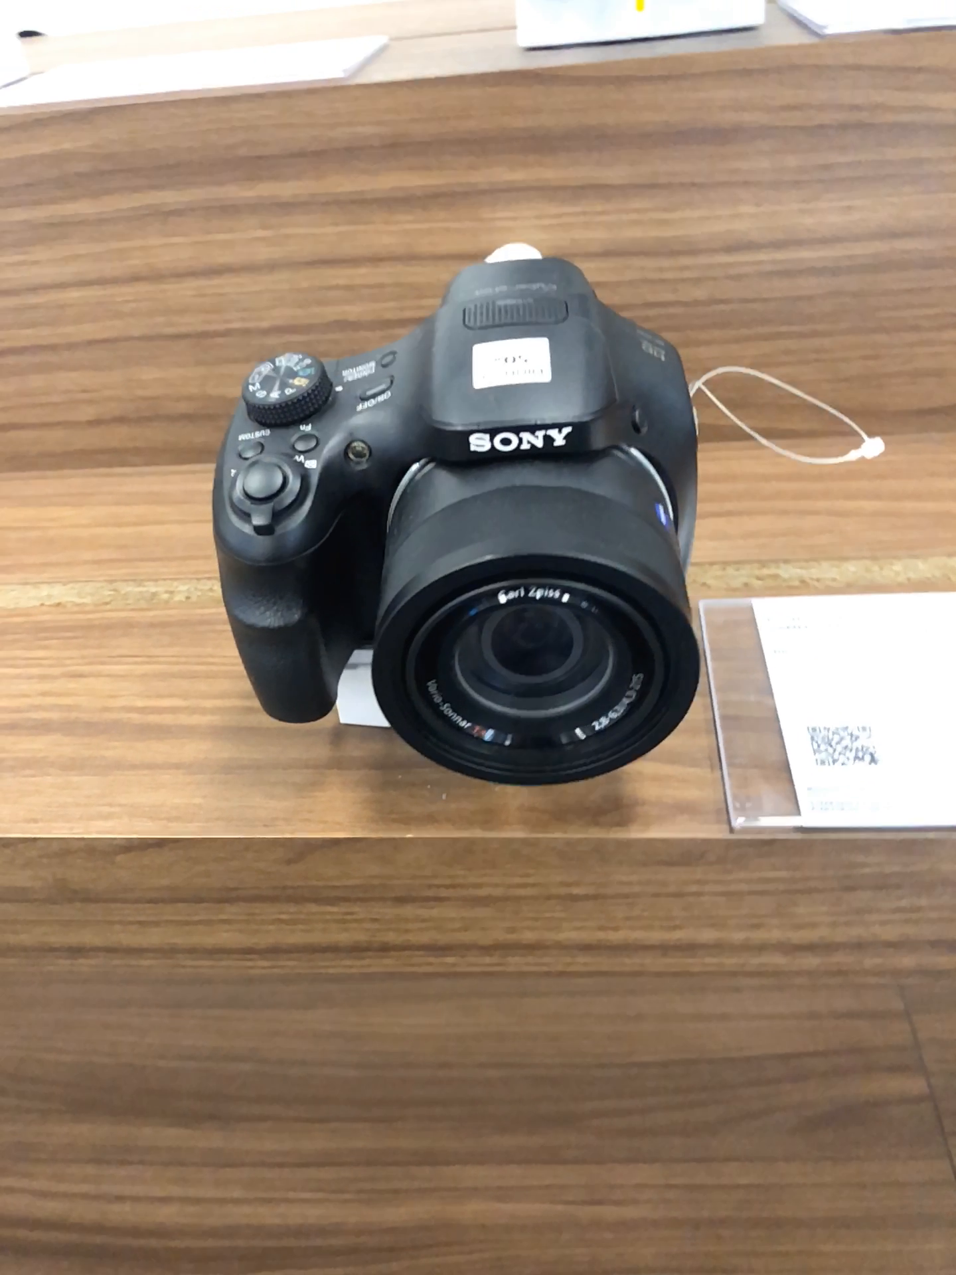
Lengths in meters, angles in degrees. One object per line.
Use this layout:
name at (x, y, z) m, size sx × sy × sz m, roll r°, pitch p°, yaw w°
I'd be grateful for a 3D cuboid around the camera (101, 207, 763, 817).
camera at (-0.003, -0.039, 0.294) m, size 0.130 × 0.100 × 0.141 m, roll -2°, pitch 39°, yaw 5°
